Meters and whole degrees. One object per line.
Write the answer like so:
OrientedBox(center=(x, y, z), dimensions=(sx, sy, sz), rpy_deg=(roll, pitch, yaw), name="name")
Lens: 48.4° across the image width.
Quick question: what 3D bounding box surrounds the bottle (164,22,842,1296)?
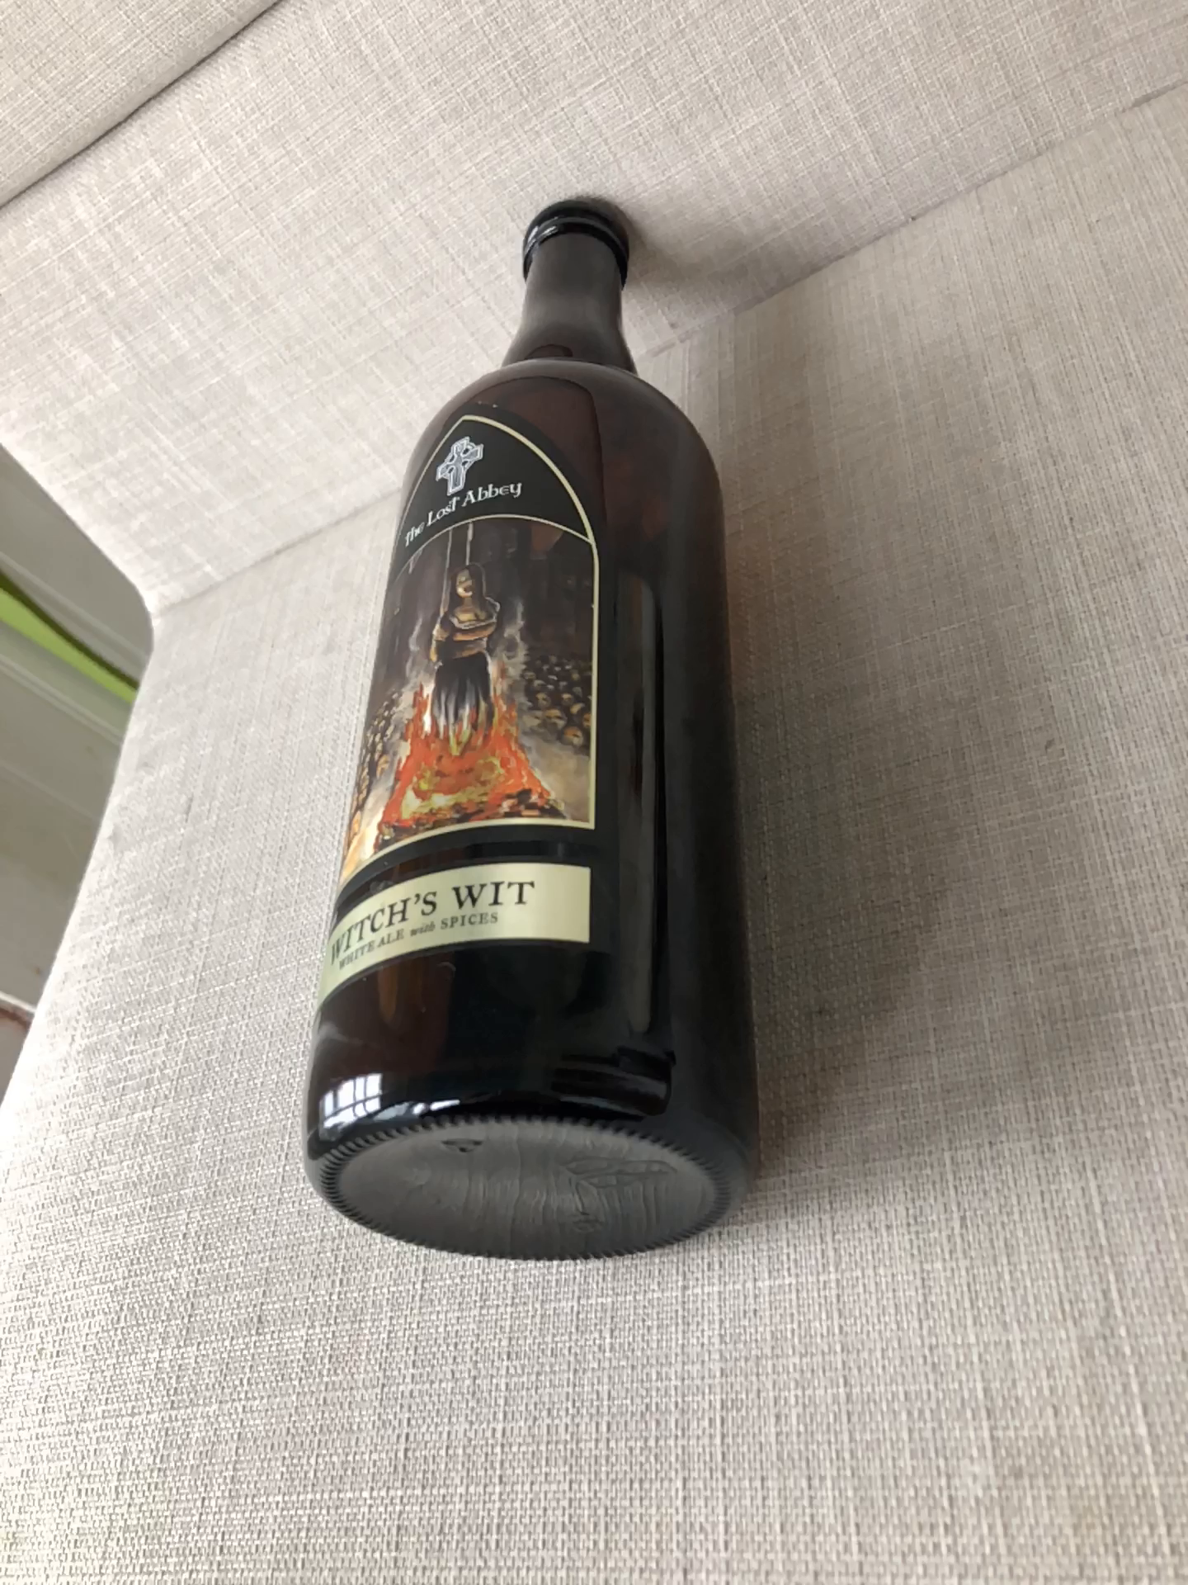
OrientedBox(center=(-0.012, -0.047, 0.298), dimensions=(0.080, 0.079, 0.282), rpy_deg=(-20, 51, 26), name="bottle")
